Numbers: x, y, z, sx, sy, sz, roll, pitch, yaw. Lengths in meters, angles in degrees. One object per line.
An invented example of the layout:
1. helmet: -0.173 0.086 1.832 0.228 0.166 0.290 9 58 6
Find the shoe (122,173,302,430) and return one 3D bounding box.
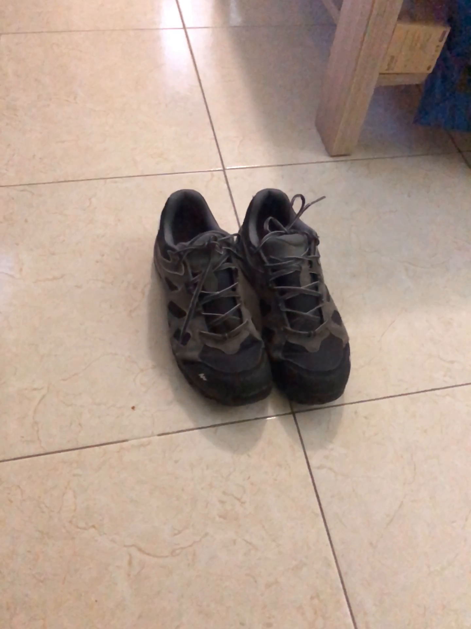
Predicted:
1. shoe: -0.044 -0.029 0.676 0.120 0.110 0.311 -15 58 -15

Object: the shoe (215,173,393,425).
1. shoe: 0.070 -0.033 0.682 0.120 0.110 0.311 -10 57 -12
